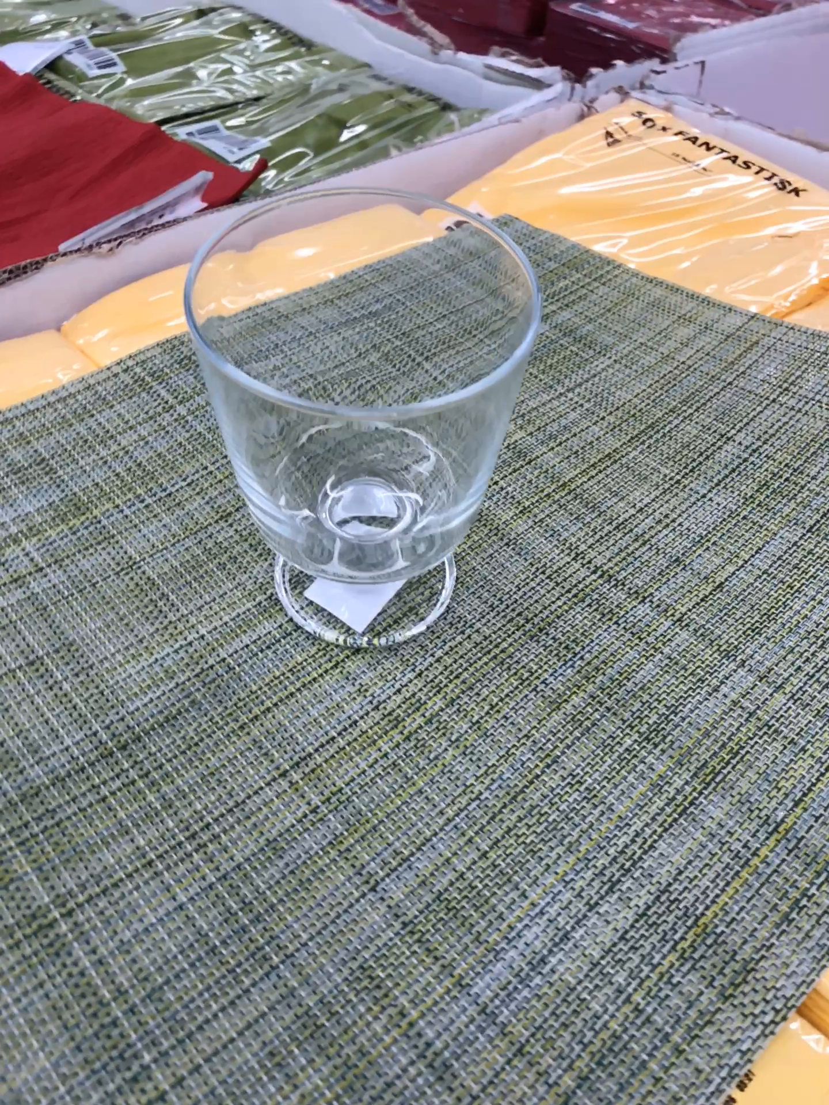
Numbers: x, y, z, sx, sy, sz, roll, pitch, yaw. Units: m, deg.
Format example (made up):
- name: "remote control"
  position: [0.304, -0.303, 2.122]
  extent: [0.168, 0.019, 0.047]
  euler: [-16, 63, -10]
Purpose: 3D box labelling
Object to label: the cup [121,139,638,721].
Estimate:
- name: "cup"
  position: [-0.013, -0.032, 0.261]
  extent: [0.090, 0.110, 0.090]
  euler: [1, 54, -2]
